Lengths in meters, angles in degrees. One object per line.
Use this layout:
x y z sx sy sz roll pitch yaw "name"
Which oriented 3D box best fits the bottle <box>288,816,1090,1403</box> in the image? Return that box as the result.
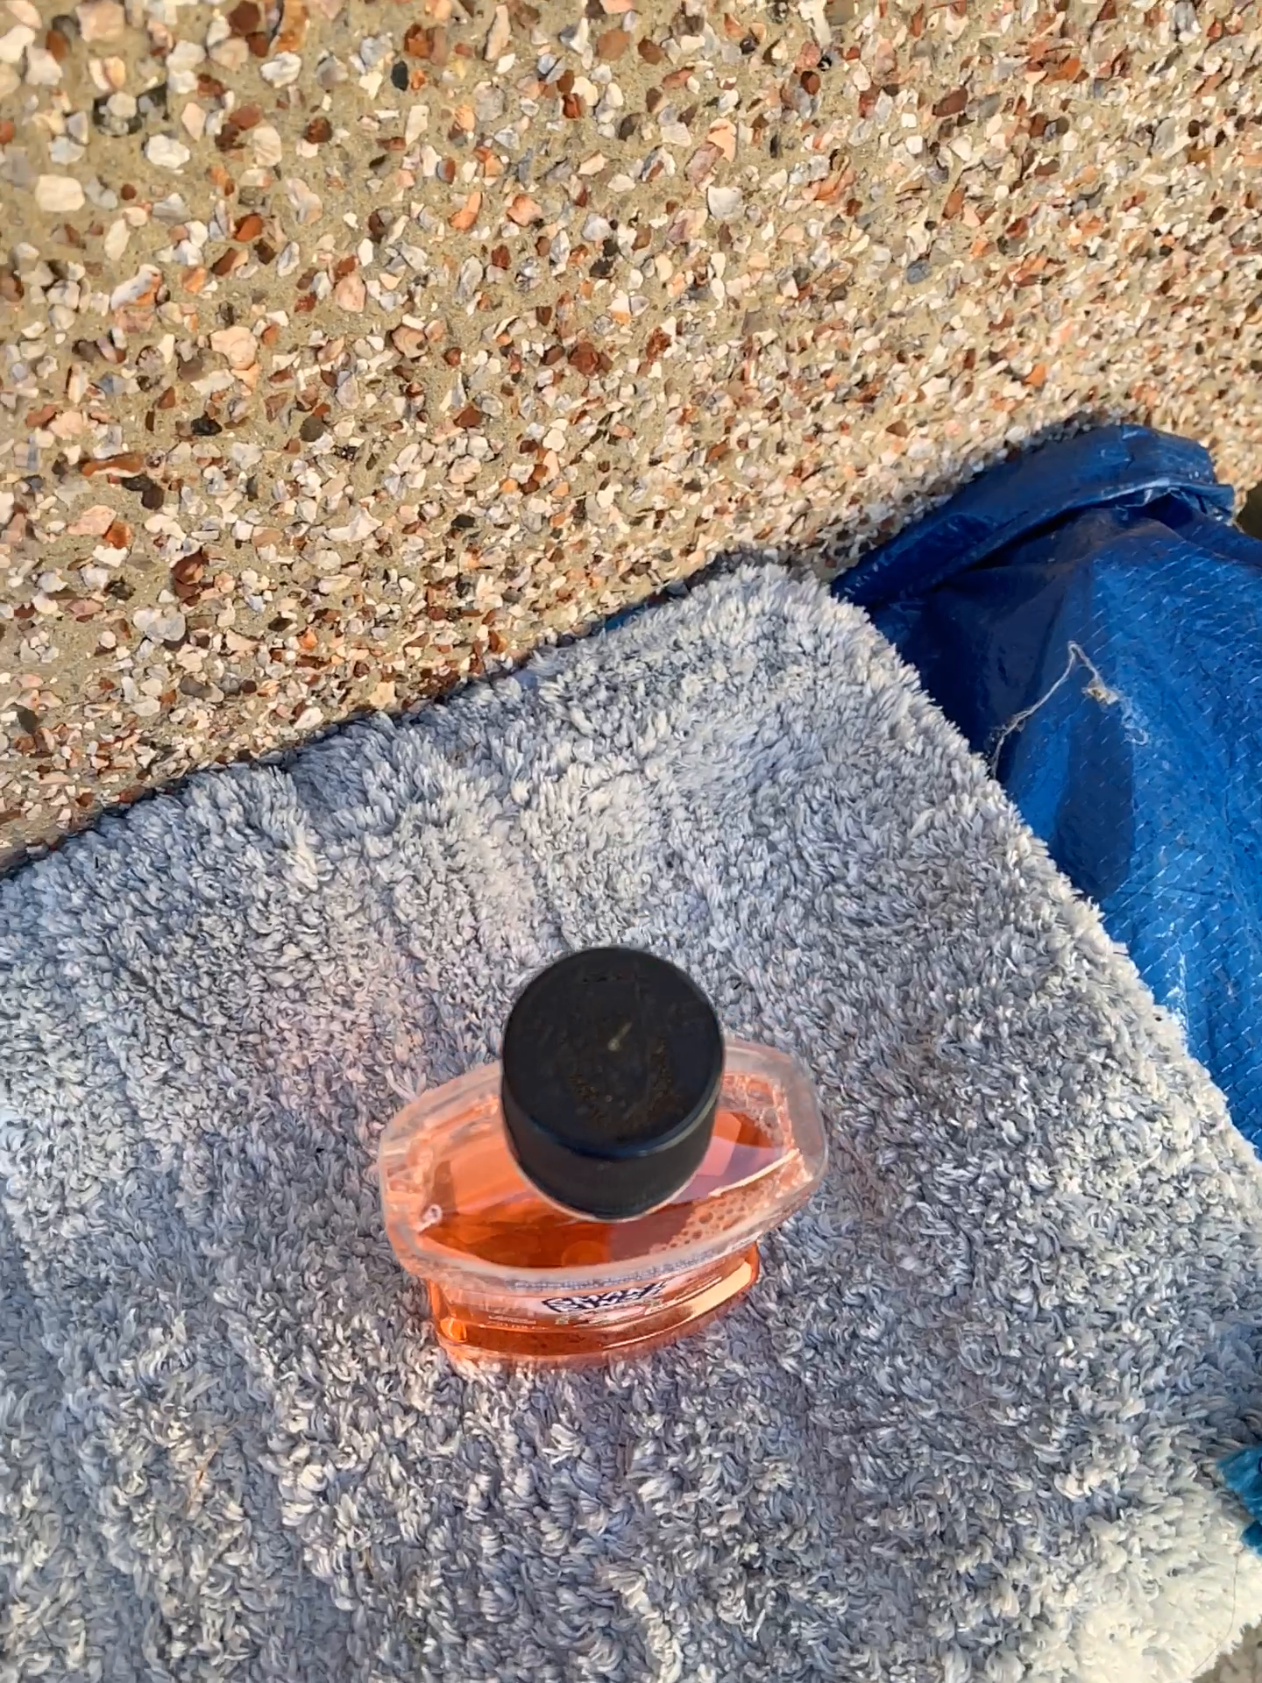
0.003 0.060 0.231 0.090 0.159 0.050 -9 65 -6 "bottle"
